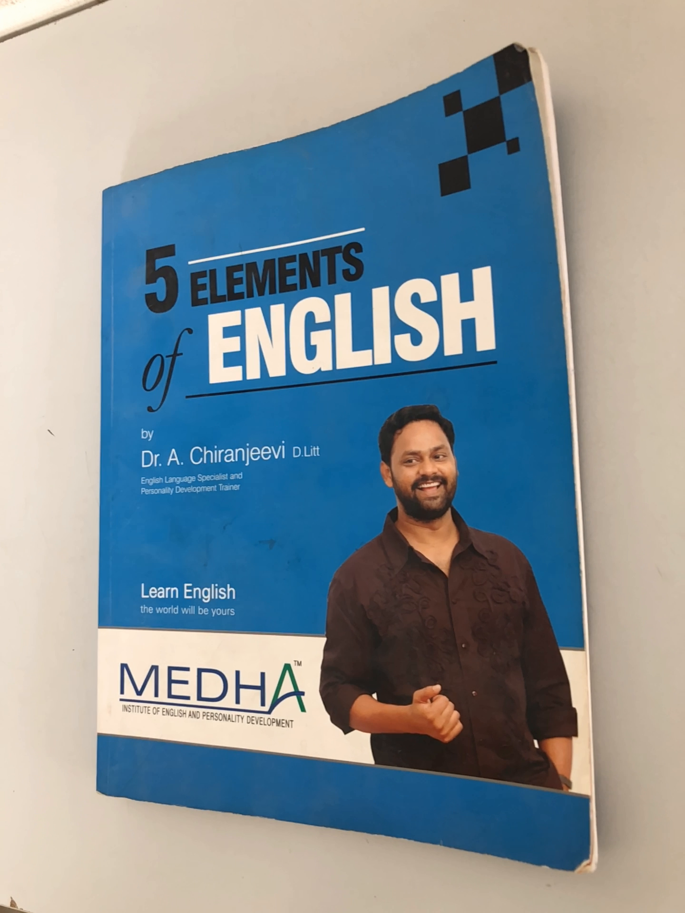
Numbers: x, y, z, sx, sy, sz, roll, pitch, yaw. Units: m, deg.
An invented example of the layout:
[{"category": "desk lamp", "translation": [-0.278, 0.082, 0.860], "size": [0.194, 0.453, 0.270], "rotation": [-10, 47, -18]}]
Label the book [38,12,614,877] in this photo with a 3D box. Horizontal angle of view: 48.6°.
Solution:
[{"category": "book", "translation": [-0.019, -0.002, 0.237], "size": [0.180, 0.020, 0.220], "rotation": [-5, 83, 24]}]
